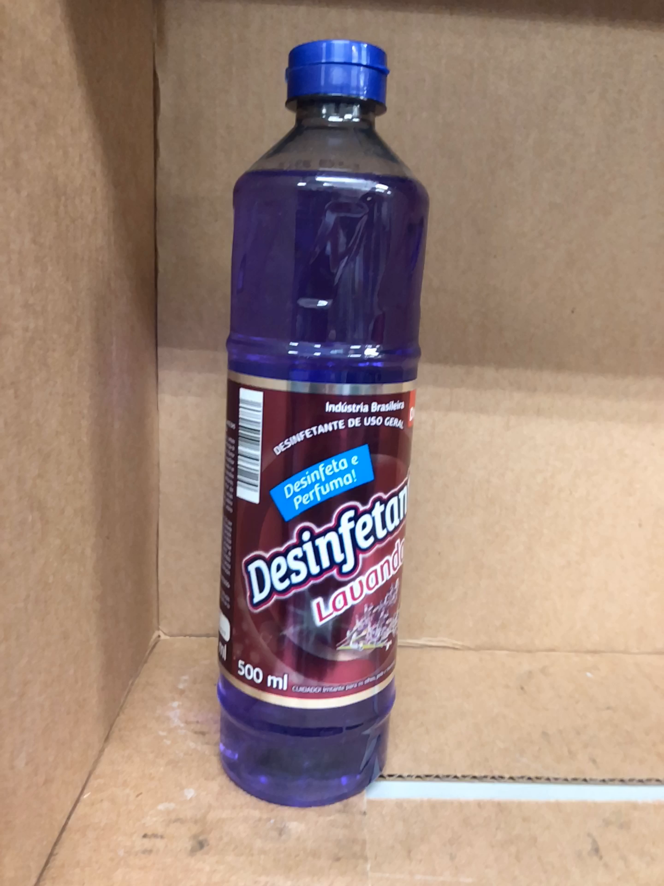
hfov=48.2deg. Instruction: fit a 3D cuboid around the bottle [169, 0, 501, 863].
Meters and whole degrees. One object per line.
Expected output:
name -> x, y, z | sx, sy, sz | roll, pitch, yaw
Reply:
bottle -> -0.007, -0.004, 0.240 | 0.070, 0.239, 0.070 | 3, 12, -1
